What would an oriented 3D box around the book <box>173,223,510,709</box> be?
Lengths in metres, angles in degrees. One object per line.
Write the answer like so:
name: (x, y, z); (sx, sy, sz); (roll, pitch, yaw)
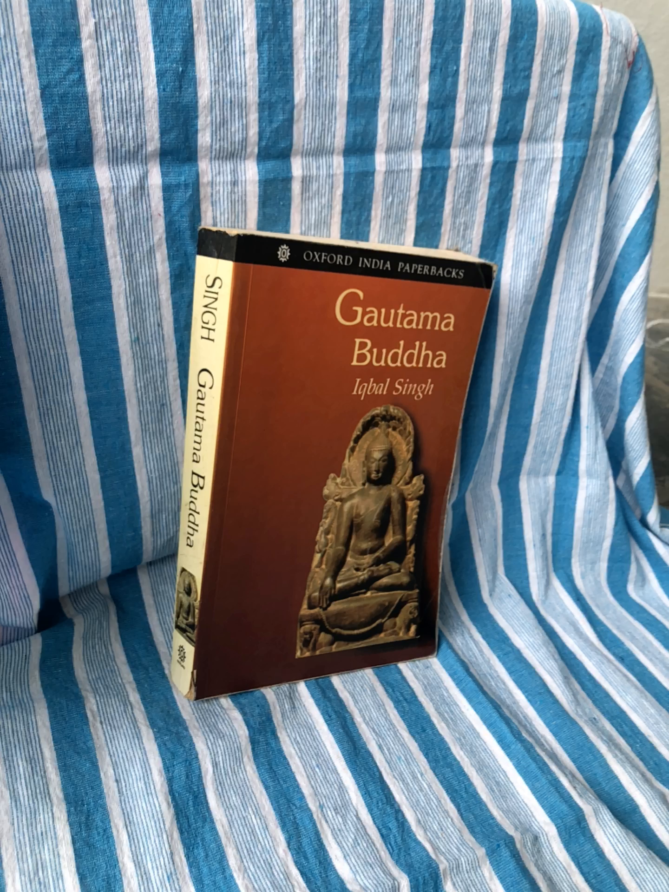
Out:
book: (0.001, 0.009, 0.357); (0.140, 0.209, 0.040); (-2, 16, -27)
